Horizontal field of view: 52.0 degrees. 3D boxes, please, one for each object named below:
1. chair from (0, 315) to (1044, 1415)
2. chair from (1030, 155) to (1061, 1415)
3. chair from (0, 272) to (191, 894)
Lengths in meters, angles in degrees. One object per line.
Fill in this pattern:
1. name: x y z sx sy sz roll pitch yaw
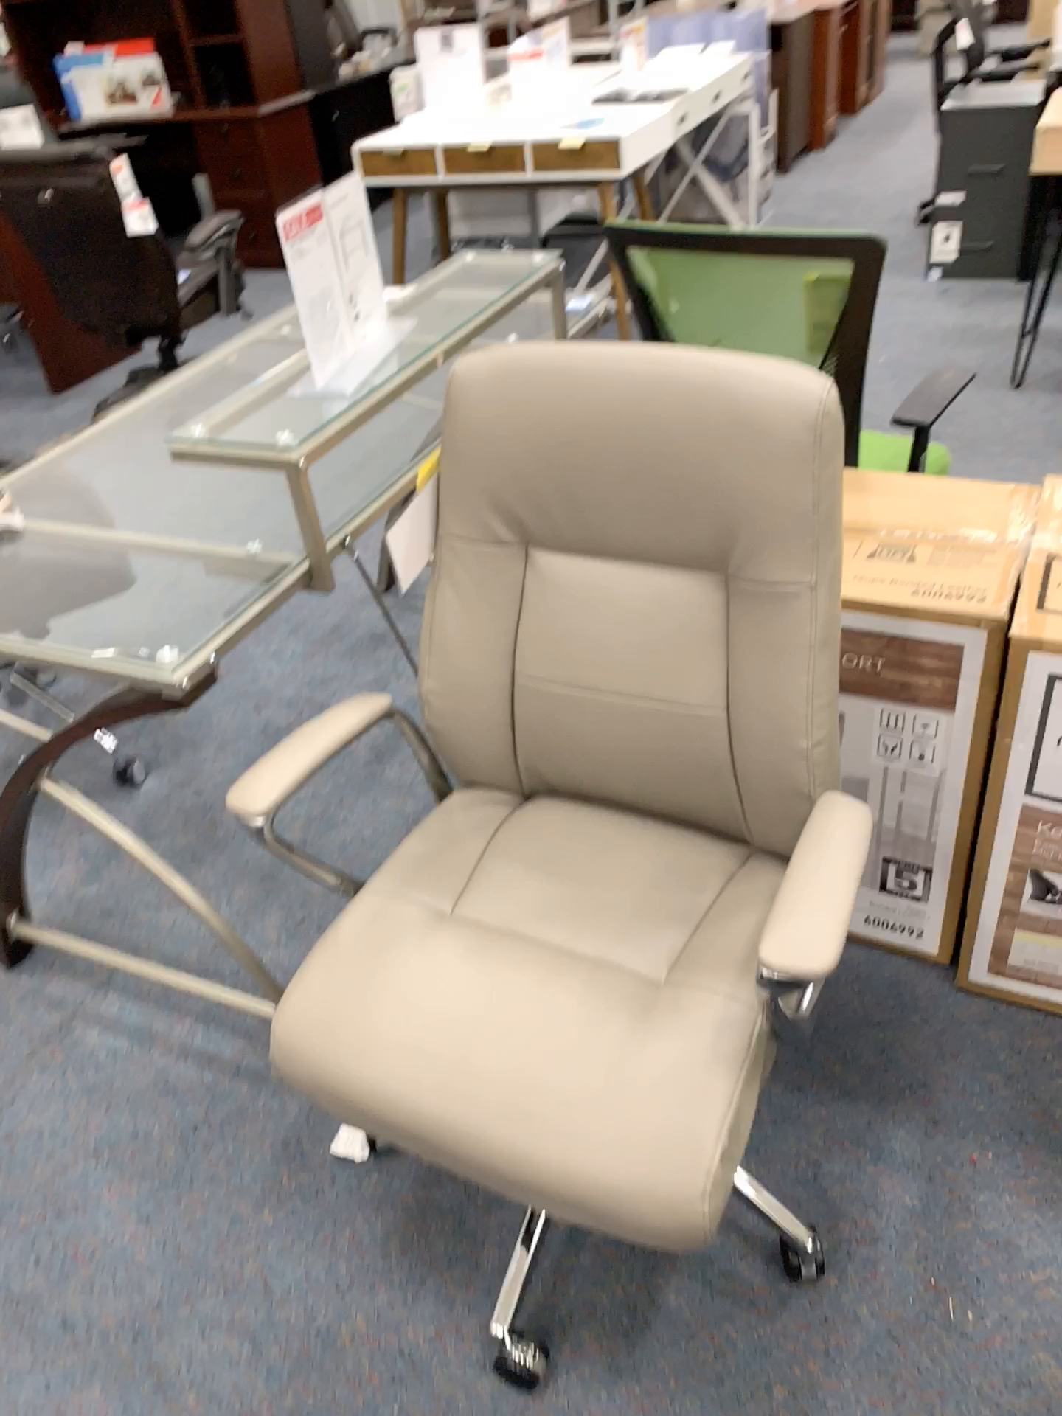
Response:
1. chair: 0.054 0.182 1.179 0.692 0.956 0.677 13 41 26
2. chair: 1.038 0.297 0.805 0.811 1.055 0.819 -8 36 0
3. chair: -1.199 -0.284 2.202 0.754 0.856 0.765 -13 36 -7
